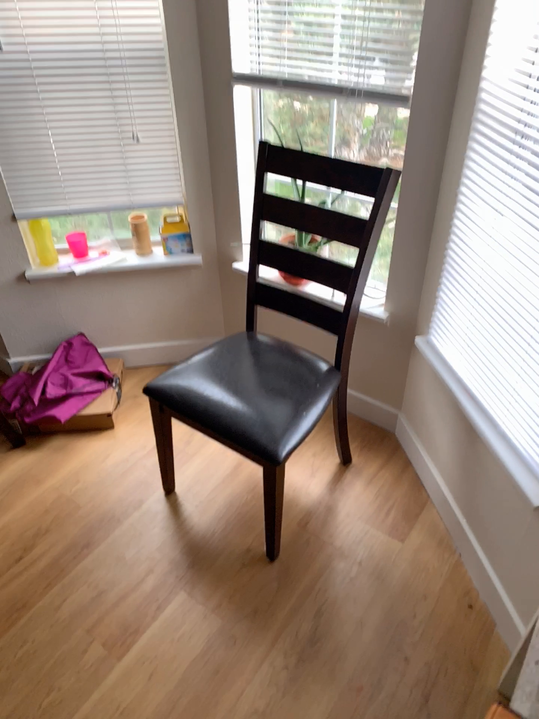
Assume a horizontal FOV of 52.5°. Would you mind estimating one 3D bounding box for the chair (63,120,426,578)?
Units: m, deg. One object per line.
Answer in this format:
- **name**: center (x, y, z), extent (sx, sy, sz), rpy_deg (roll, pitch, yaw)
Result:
- **chair**: center (-0.032, -0.034, 1.454), extent (0.561, 0.945, 0.542), rpy_deg (23, 44, 28)
